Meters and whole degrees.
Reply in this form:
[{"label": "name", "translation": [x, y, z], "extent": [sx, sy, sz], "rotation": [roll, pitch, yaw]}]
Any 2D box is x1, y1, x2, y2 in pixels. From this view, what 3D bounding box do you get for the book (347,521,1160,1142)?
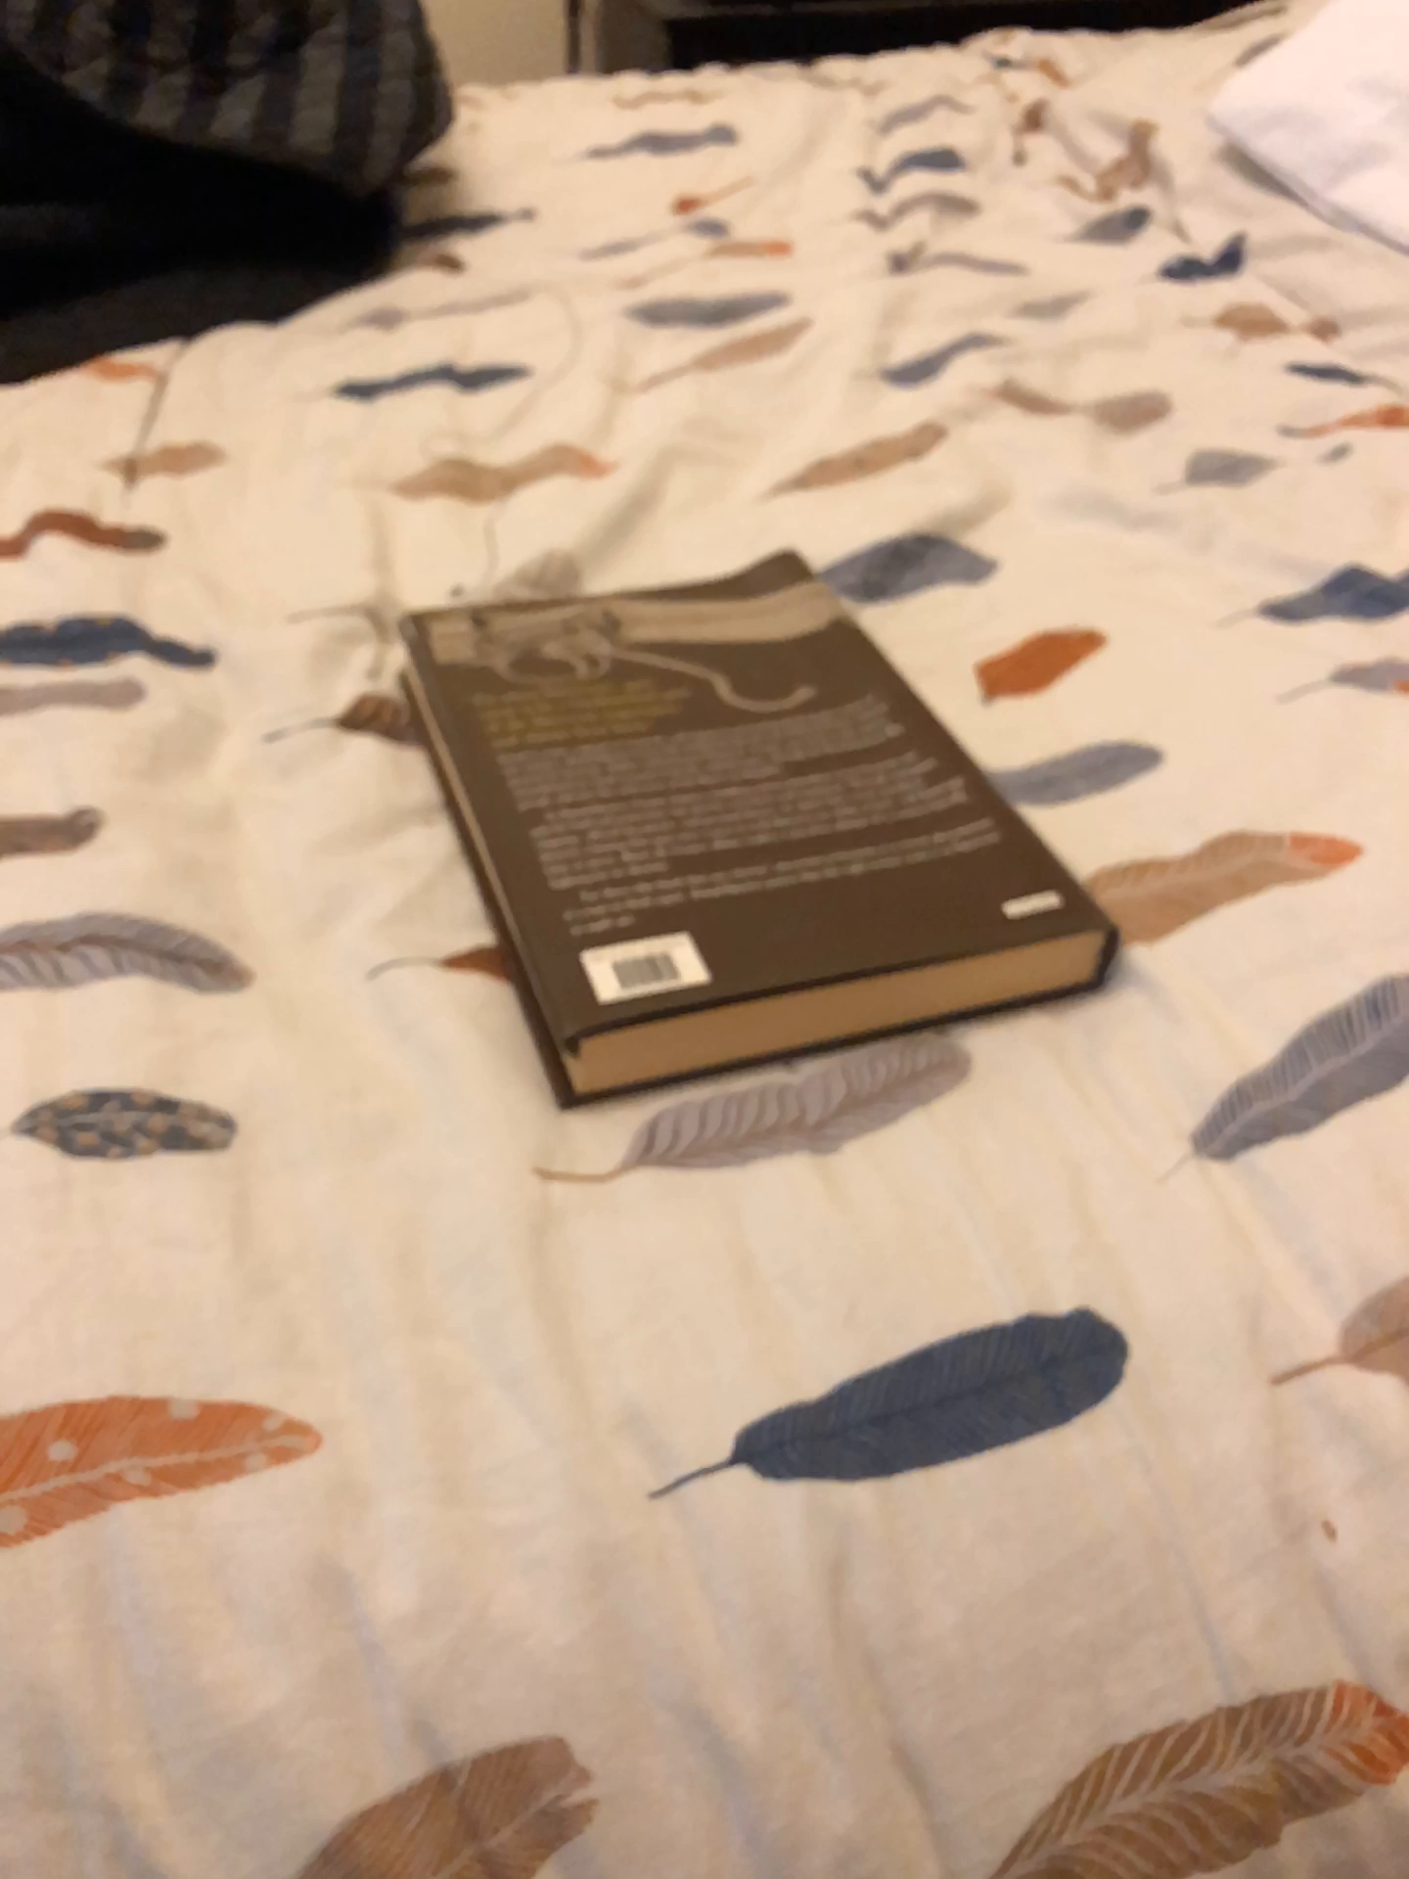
[{"label": "book", "translation": [-0.001, -0.053, 0.496], "extent": [0.180, 0.030, 0.241], "rotation": [-11, 43, -15]}]
